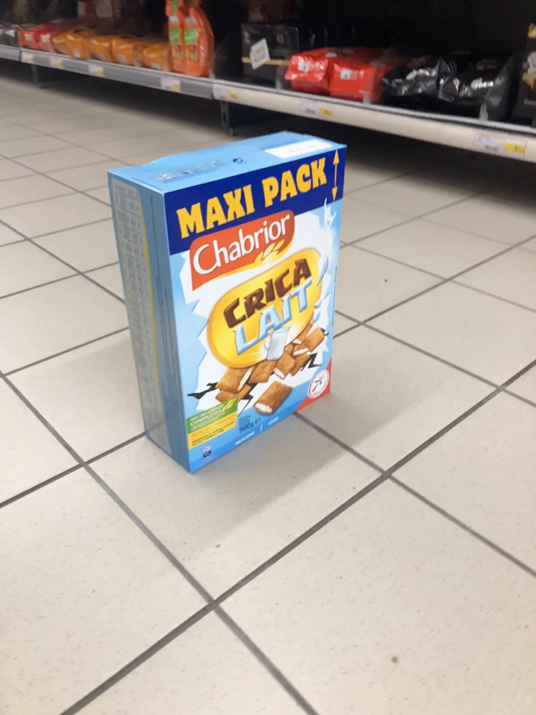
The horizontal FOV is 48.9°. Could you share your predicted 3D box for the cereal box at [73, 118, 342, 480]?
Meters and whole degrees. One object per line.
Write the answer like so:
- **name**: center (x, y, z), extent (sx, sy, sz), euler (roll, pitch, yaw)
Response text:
- **cereal box**: center (-0.041, -0.058, 0.543), extent (0.201, 0.268, 0.090), euler (-26, 40, -34)
